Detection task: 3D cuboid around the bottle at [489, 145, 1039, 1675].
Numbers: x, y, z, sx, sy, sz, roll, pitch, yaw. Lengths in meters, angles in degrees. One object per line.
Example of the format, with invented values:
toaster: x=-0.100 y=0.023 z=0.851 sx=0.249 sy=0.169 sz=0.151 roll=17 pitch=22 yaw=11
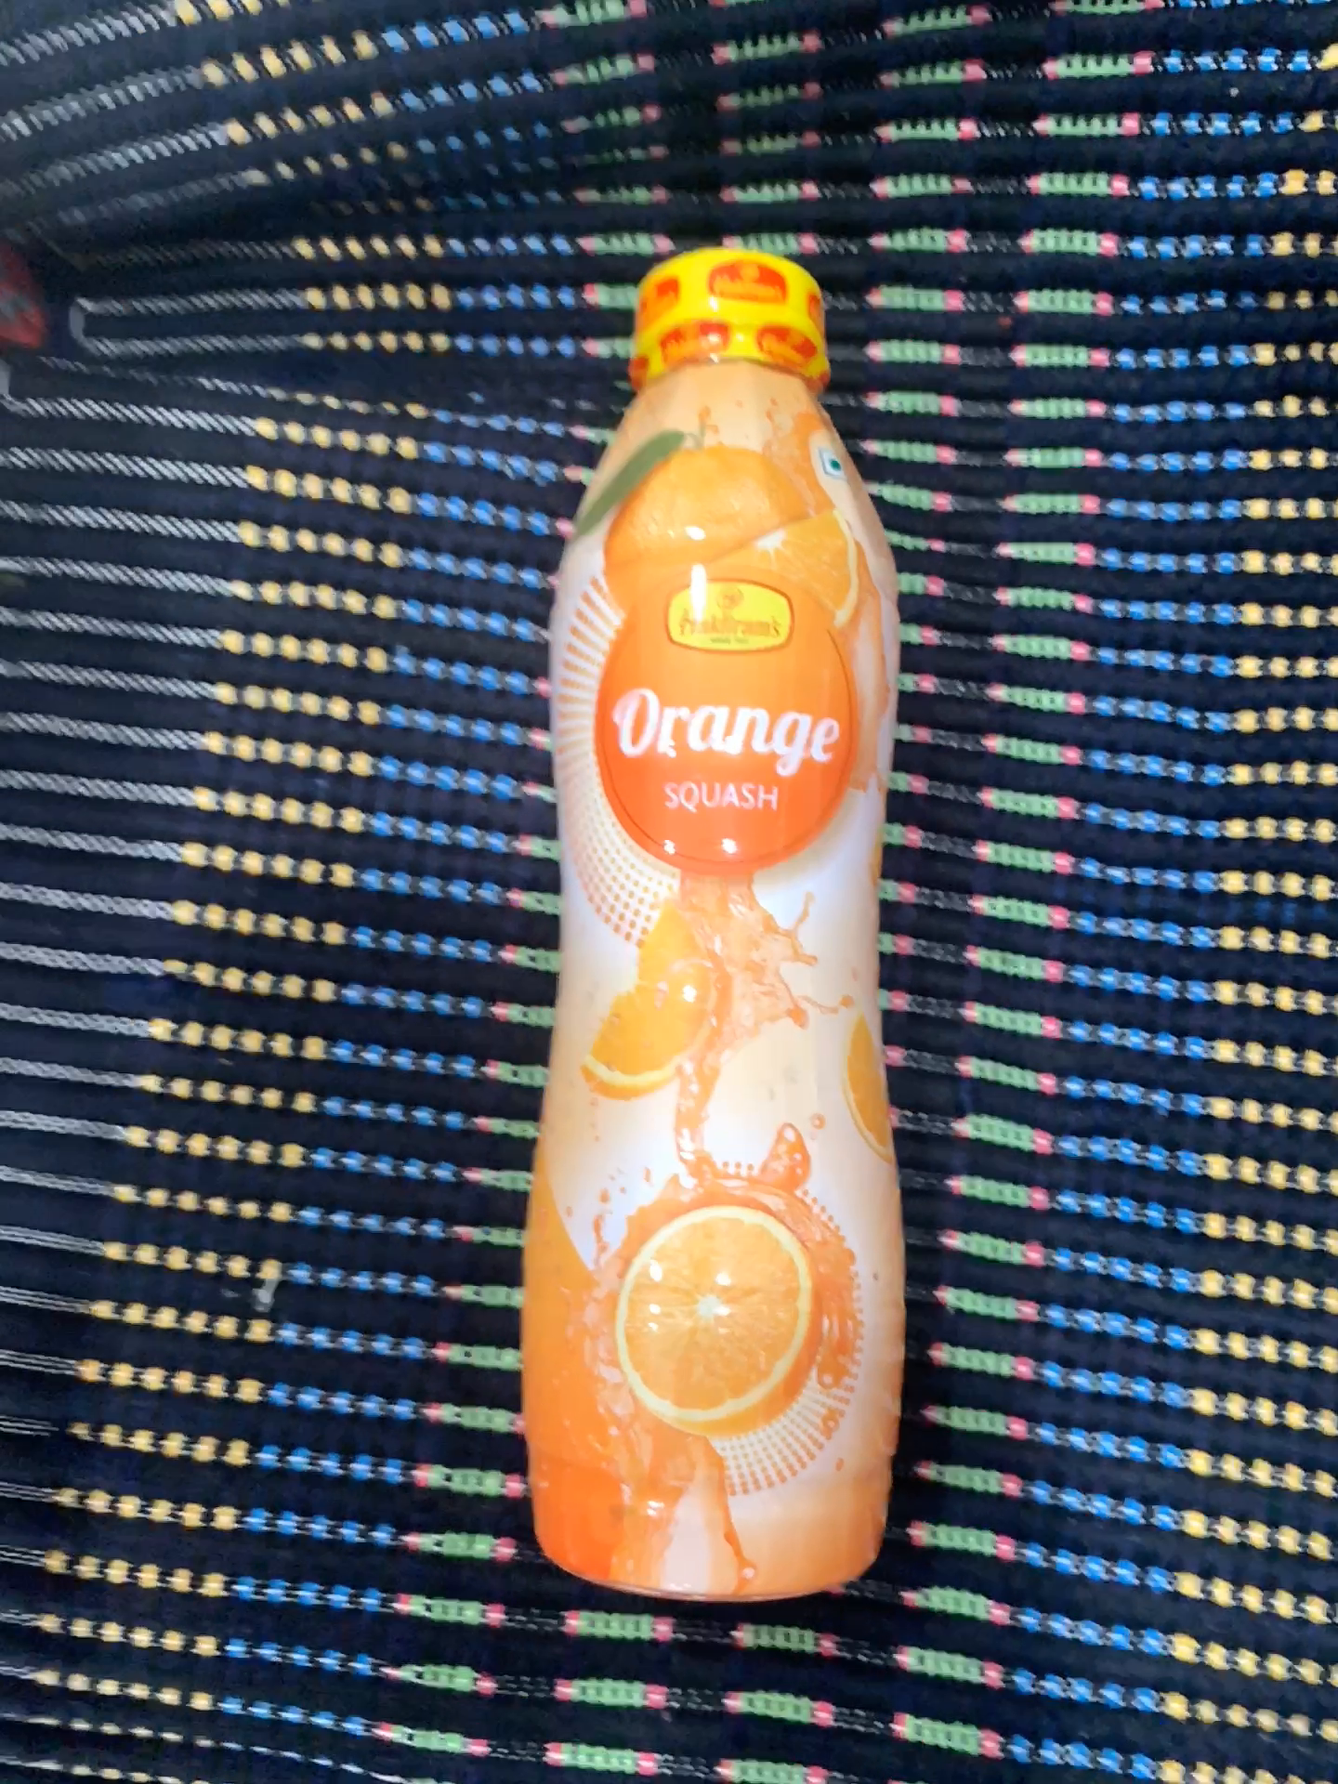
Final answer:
bottle: x=0.018 y=-0.005 z=0.256 sx=0.080 sy=0.060 sz=0.250 roll=2 pitch=79 yaw=1
